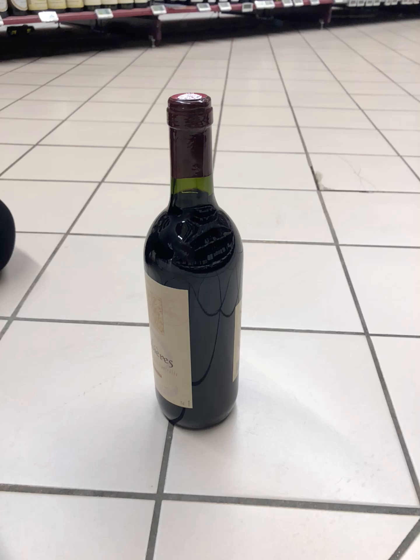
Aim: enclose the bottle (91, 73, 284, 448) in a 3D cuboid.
[{"bbox_3d":[-0.019,-0.006,0.335,0.090,0.249,0.090,0,34,0],"label":"bottle"}]
